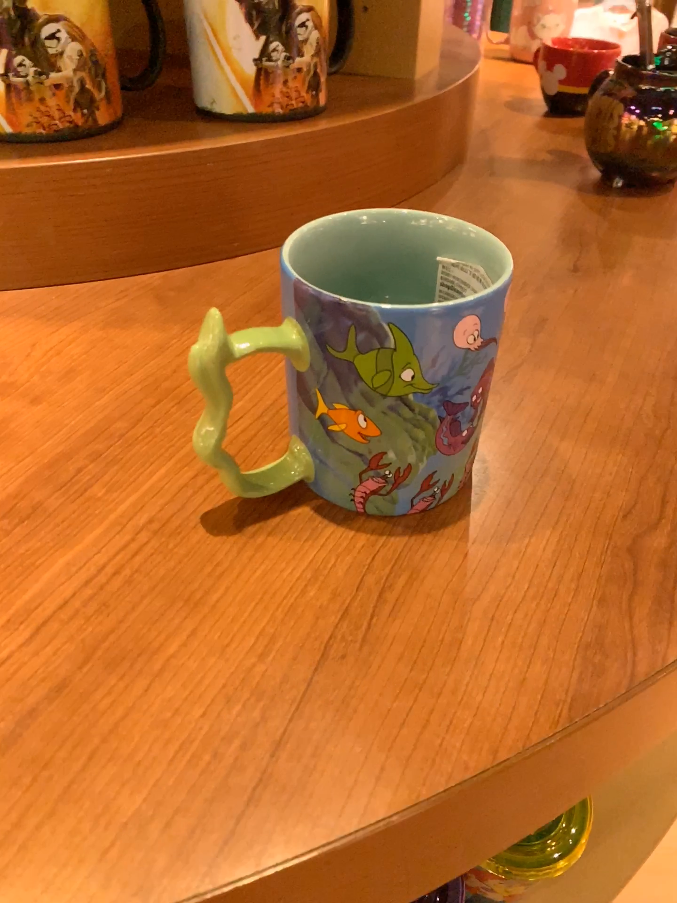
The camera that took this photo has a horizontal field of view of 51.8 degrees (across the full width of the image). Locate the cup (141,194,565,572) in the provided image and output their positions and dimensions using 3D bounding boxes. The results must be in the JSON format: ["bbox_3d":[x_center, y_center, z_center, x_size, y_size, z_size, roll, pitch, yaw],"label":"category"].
[{"bbox_3d":[0.000,-0.034,0.292,0.134,0.101,0.091,-13,42,-17],"label":"cup"}]
